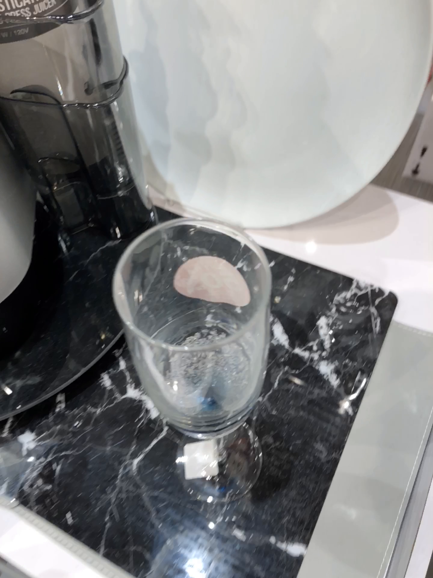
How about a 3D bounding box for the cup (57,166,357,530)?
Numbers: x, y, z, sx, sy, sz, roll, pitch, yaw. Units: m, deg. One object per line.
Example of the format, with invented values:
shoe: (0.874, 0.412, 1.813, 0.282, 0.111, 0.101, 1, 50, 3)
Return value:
cup: (0.002, 0.062, 0.265, 0.070, 0.250, 0.070, -1, 57, 2)
